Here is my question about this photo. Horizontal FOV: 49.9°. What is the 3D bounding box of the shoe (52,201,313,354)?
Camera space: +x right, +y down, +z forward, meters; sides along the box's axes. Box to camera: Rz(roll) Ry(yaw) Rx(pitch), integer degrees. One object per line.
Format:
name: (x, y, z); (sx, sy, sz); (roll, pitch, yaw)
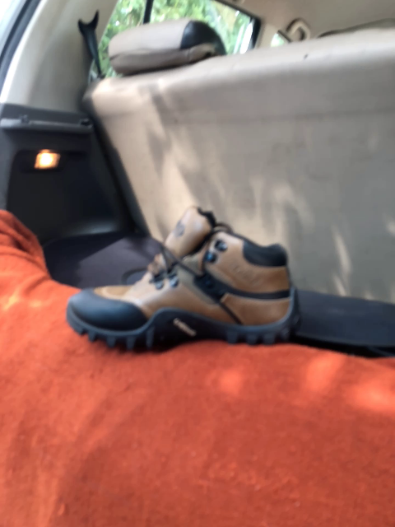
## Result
shoe: (-0.016, 0.009, 0.510); (0.270, 0.150, 0.110); (-2, 14, -5)
